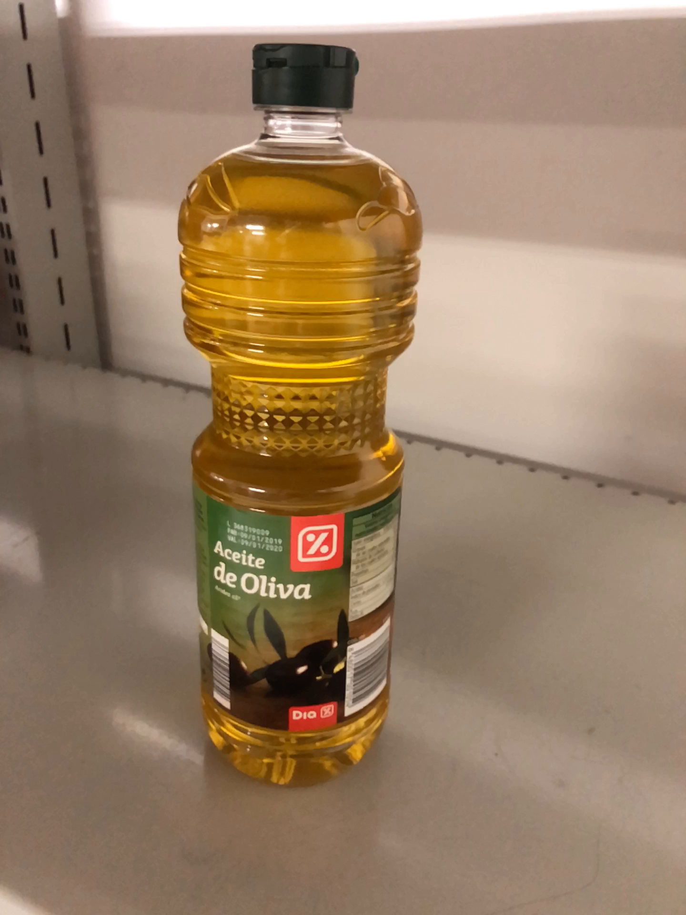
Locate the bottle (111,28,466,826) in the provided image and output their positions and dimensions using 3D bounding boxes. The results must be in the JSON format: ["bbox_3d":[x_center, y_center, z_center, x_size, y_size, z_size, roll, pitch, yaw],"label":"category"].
[{"bbox_3d":[-0.014,0.003,0.253,0.080,0.248,0.060,6,26,8],"label":"bottle"}]
